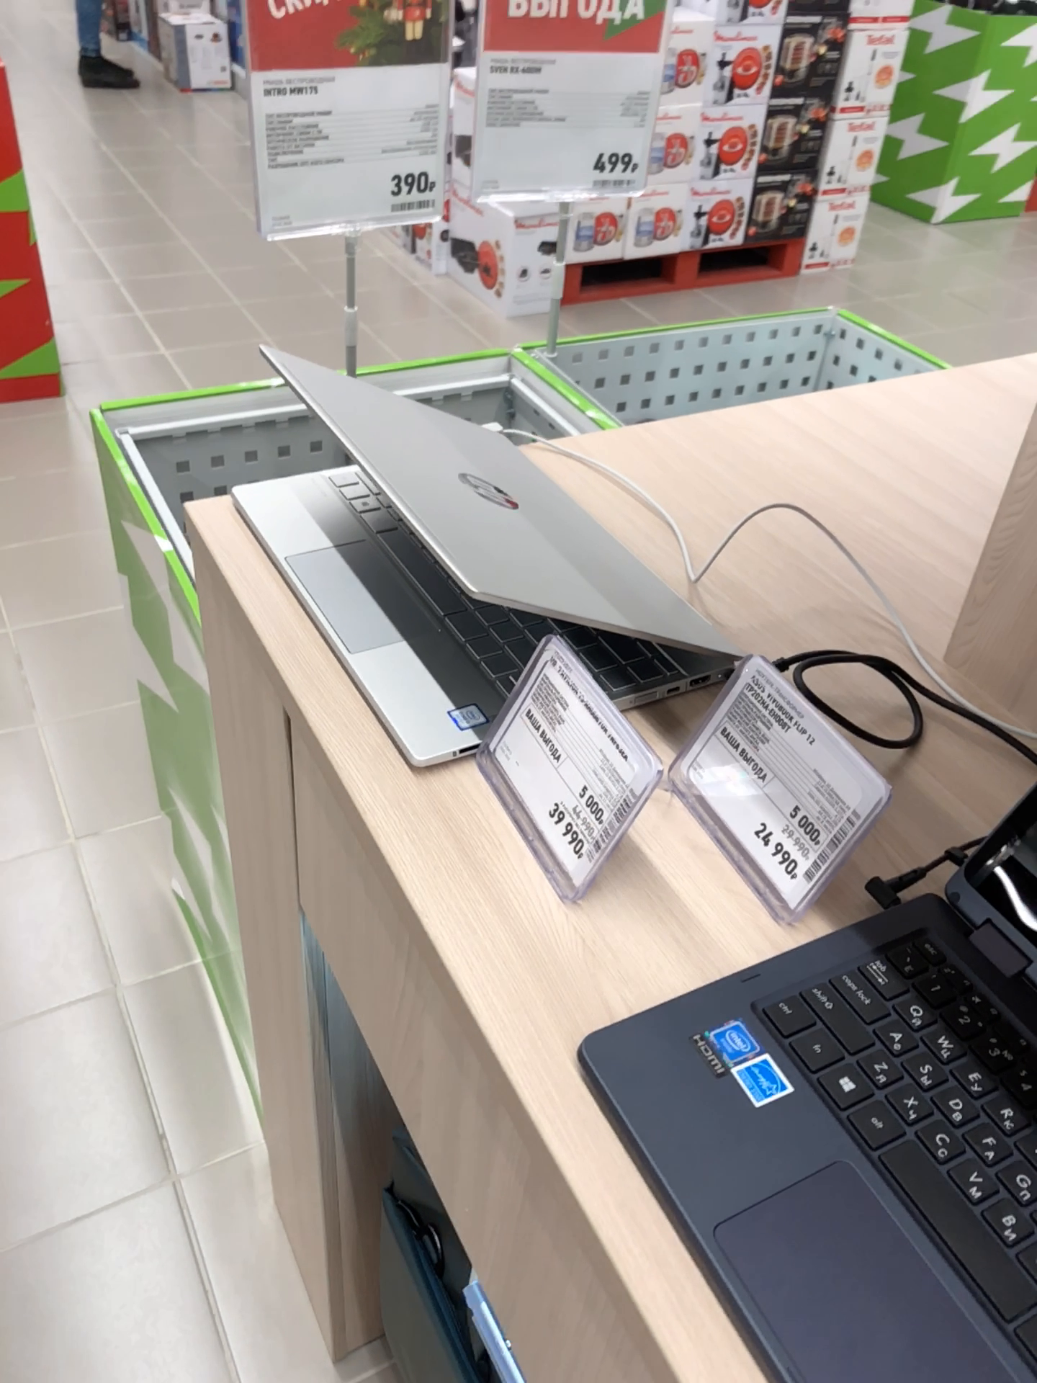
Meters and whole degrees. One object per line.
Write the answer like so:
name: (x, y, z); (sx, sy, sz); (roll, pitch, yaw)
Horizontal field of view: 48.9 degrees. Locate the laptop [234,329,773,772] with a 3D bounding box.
laptop: (-0.029, -0.113, 0.723); (0.206, 0.095, 0.323); (-16, 42, -23)
